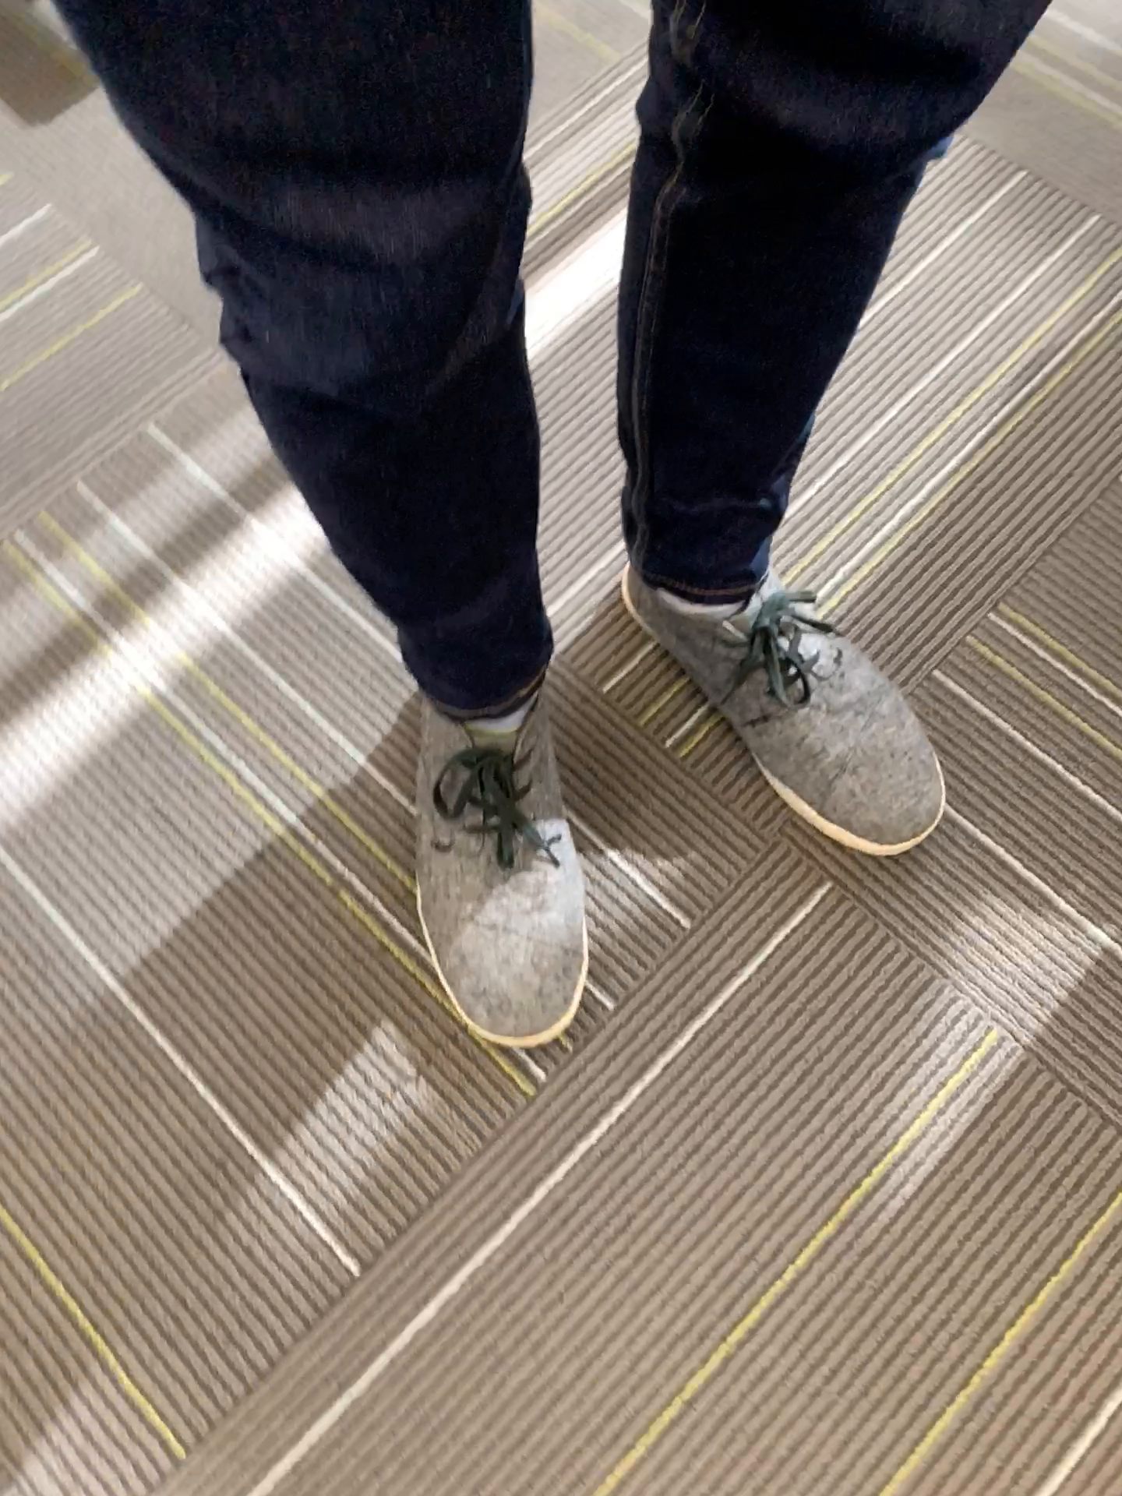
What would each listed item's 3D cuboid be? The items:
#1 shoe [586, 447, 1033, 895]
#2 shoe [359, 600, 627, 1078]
[{"bbox_3d":[0.166,-0.060,0.832,0.134,0.087,0.301,-37,70,-11],"label":"shoe"},{"bbox_3d":[-0.050,0.059,0.798,0.134,0.087,0.299,-10,66,-1],"label":"shoe"}]
